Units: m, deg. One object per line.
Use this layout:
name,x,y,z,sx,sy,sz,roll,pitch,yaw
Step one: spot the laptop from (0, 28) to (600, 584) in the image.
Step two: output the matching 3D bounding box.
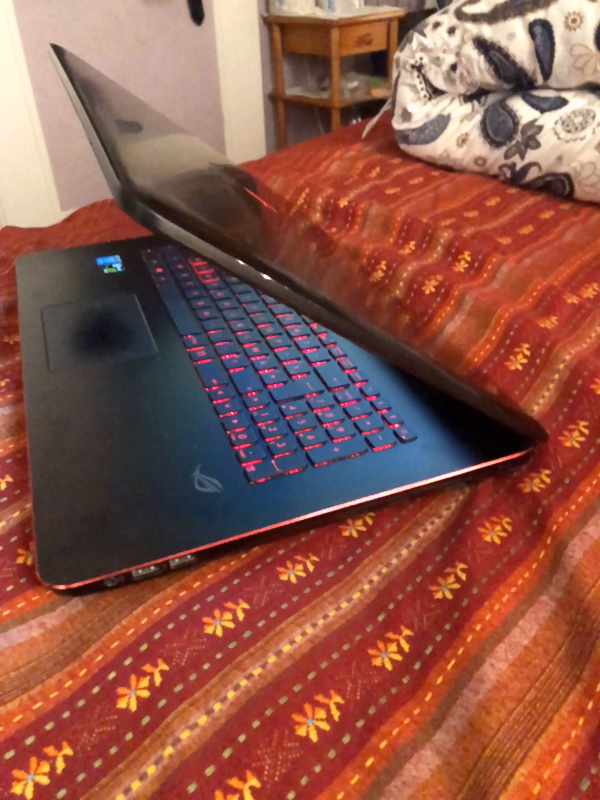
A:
laptop,-0.062,-0.124,0.443,0.268,0.168,0.400,-13,37,-16
